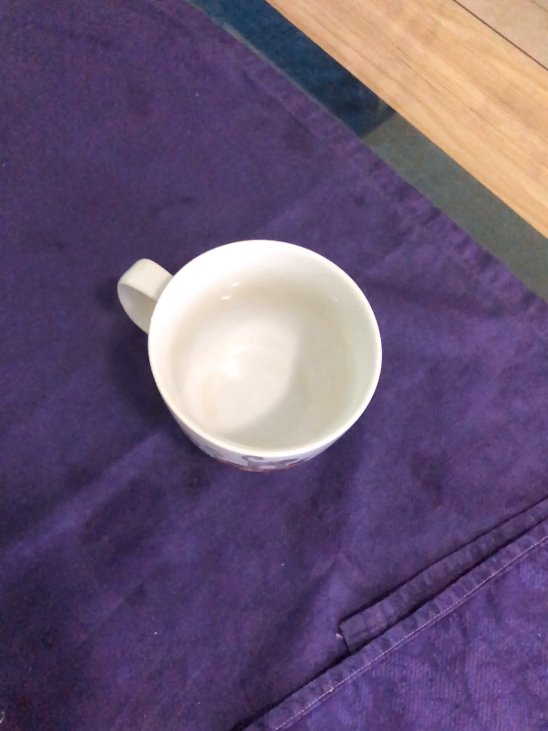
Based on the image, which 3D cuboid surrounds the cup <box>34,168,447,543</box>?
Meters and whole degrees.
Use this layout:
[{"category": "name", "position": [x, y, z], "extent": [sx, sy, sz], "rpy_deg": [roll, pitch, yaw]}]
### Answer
[{"category": "cup", "position": [-0.014, -0.003, 0.280], "extent": [0.140, 0.070, 0.090], "rpy_deg": [34, 70, 10]}]
